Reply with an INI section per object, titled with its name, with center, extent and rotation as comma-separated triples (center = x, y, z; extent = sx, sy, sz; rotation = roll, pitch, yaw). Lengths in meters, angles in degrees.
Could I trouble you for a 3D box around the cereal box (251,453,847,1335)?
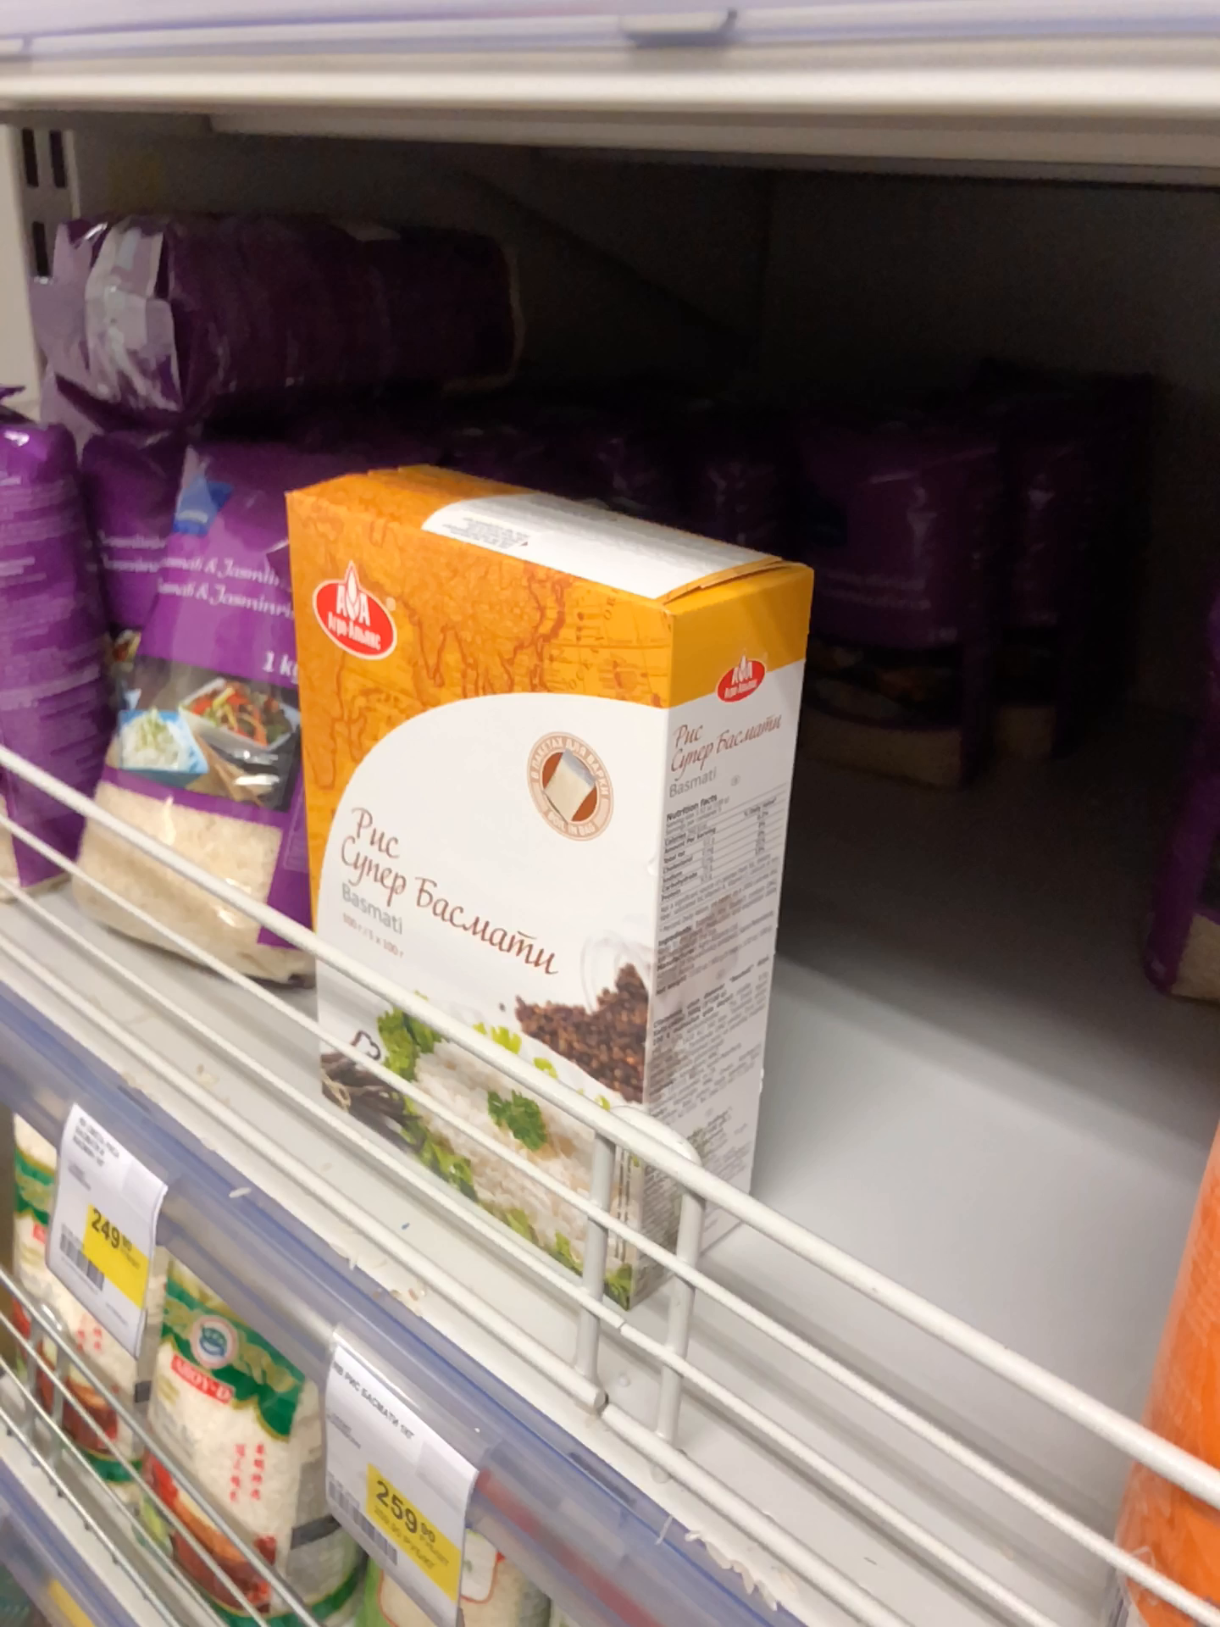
[cereal box]
center = -0.023, 0.014, 0.361
extent = 0.140, 0.189, 0.060
rotation = 22, 31, 37
